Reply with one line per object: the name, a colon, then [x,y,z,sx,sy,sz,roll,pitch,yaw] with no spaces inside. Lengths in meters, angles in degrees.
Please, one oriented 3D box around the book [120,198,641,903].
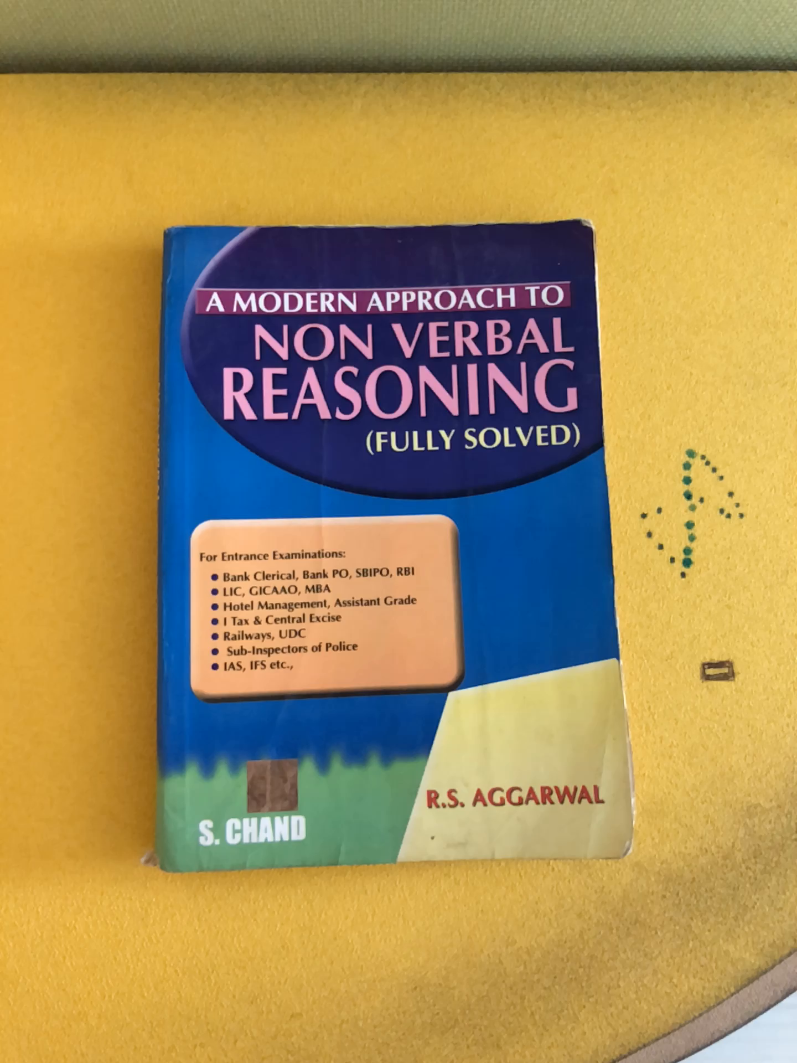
book: [-0.010,0.001,0.326,0.170,0.040,0.240,-2,82,-3]
